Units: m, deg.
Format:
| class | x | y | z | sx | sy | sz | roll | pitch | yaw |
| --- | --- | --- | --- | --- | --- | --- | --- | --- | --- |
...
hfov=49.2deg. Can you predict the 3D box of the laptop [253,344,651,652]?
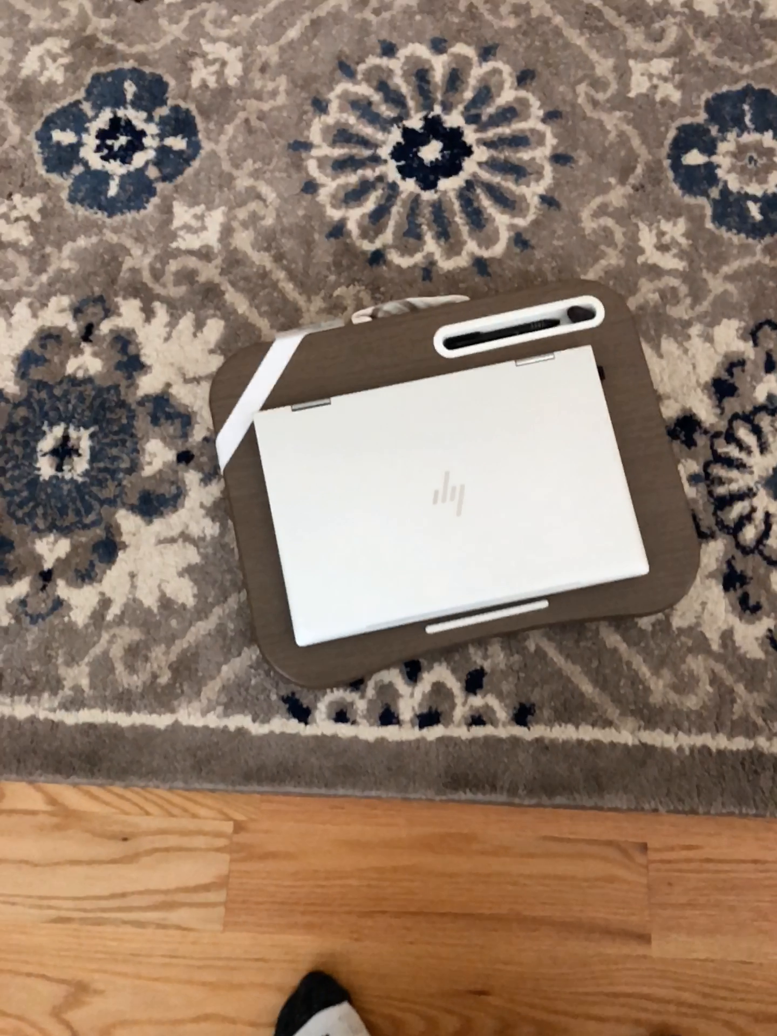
| class | x | y | z | sx | sy | sz | roll | pitch | yaw |
| --- | --- | --- | --- | --- | --- | --- | --- | --- | --- |
| laptop | 0.059 | -0.023 | 0.857 | 0.354 | 0.026 | 0.241 | -12 | 79 | -1 |
